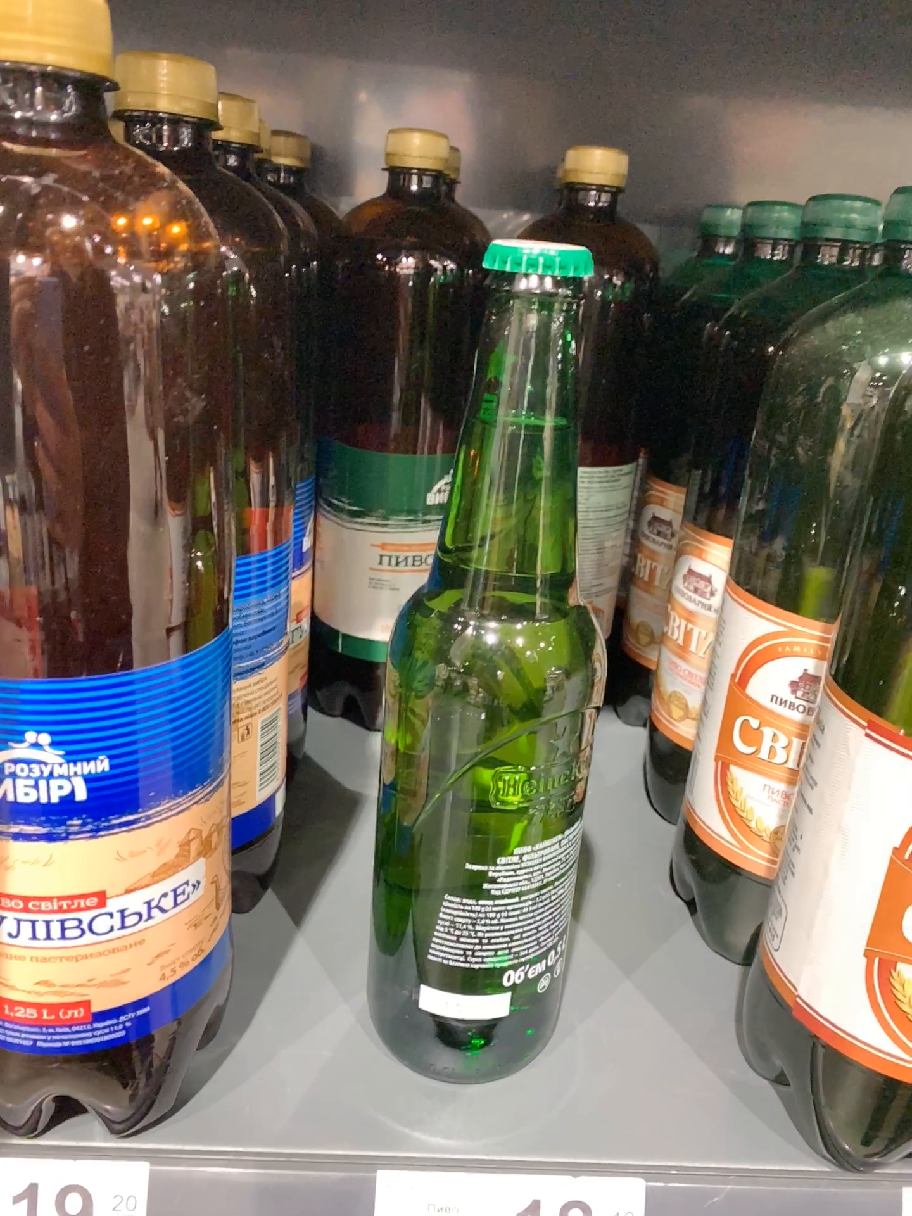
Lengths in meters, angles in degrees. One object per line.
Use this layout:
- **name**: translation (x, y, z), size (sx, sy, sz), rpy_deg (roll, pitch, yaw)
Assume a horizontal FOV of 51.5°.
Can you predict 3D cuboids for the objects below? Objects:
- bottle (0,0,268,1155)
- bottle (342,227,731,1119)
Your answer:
- **bottle**: translation (-0.092, 0.000, 0.242), size (0.080, 0.288, 0.074), rpy_deg (4, 21, -2)
- **bottle**: translation (0.014, 0.023, 0.282), size (0.067, 0.248, 0.062), rpy_deg (4, 21, -2)
